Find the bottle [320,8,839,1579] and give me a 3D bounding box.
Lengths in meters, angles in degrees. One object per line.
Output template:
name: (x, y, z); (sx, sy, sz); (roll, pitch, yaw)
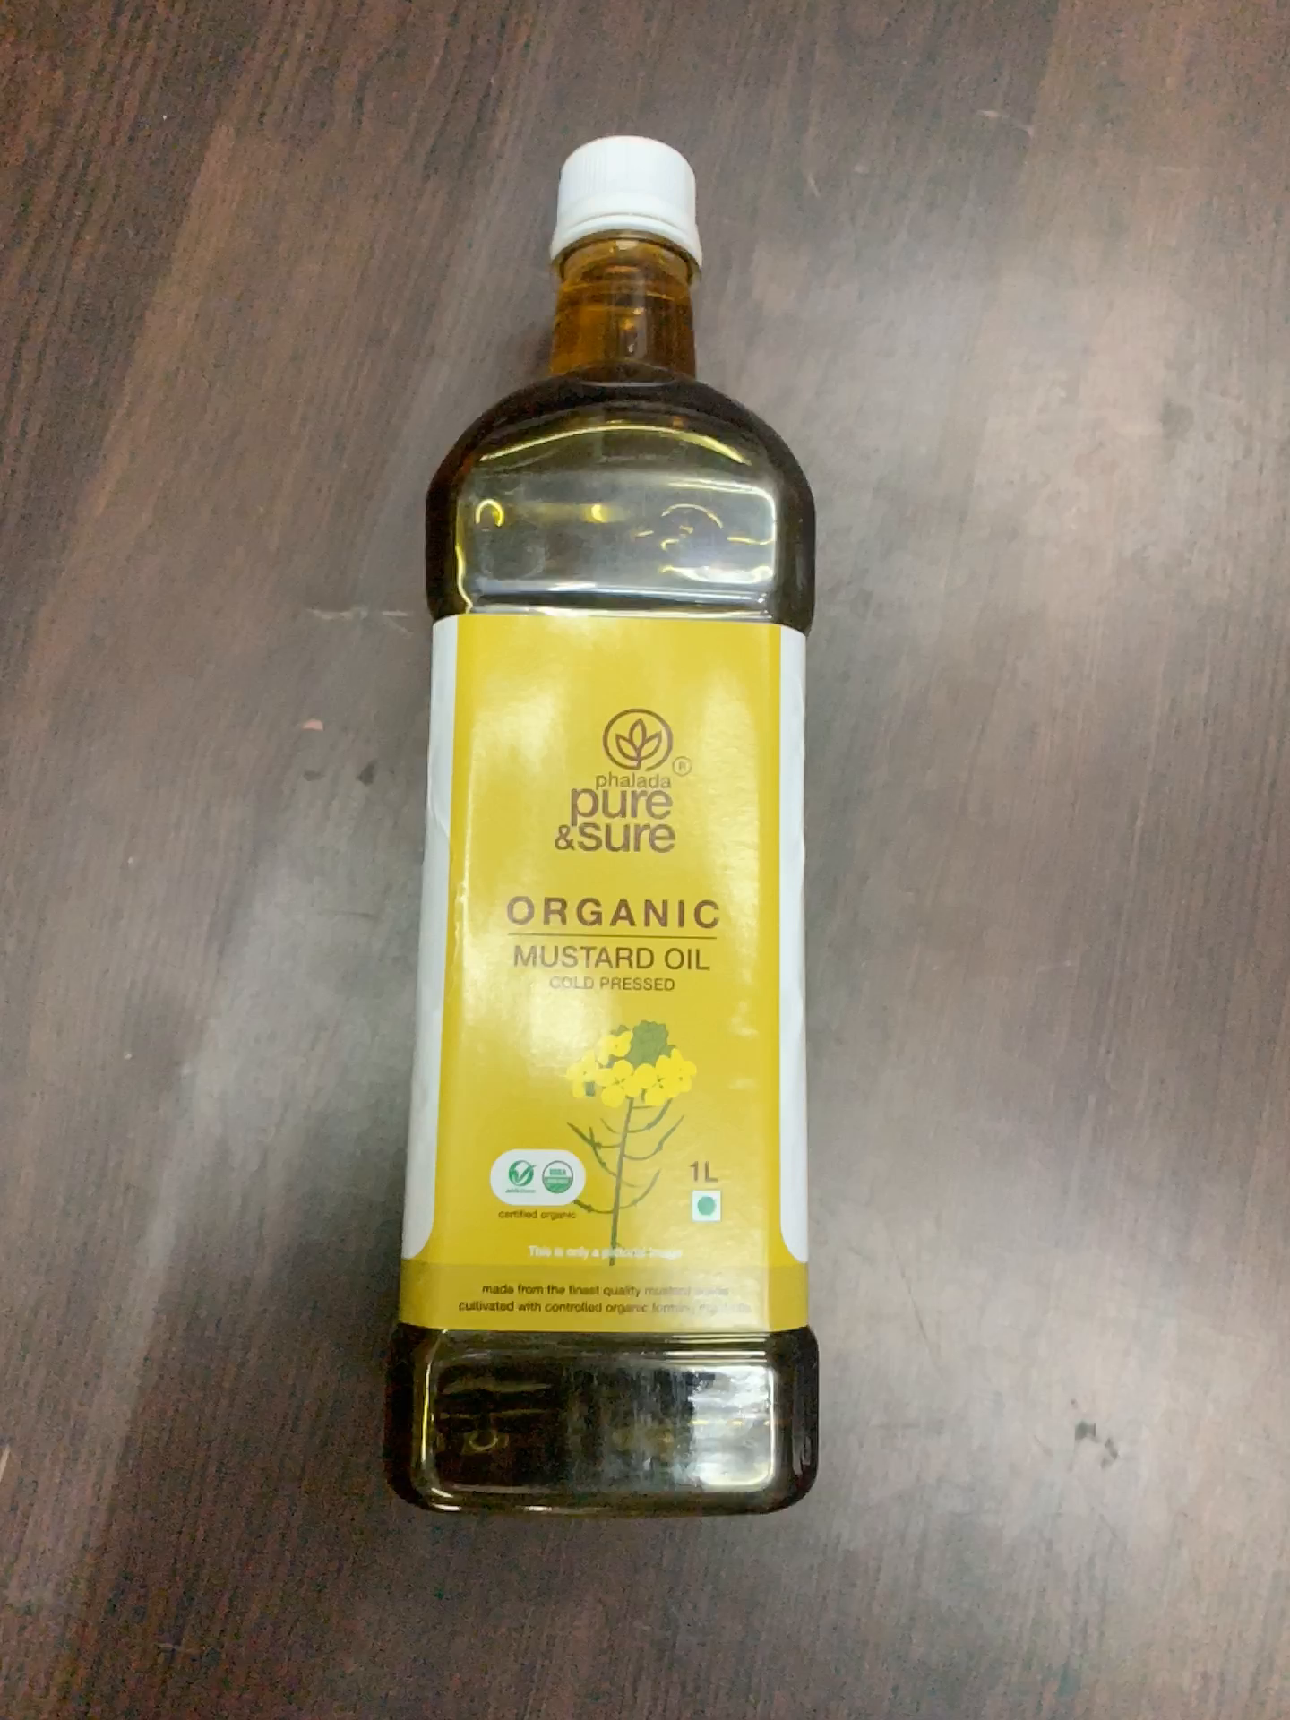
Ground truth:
bottle: (-0.010, -0.016, 0.266); (0.080, 0.080, 0.270); (1, 81, -2)
